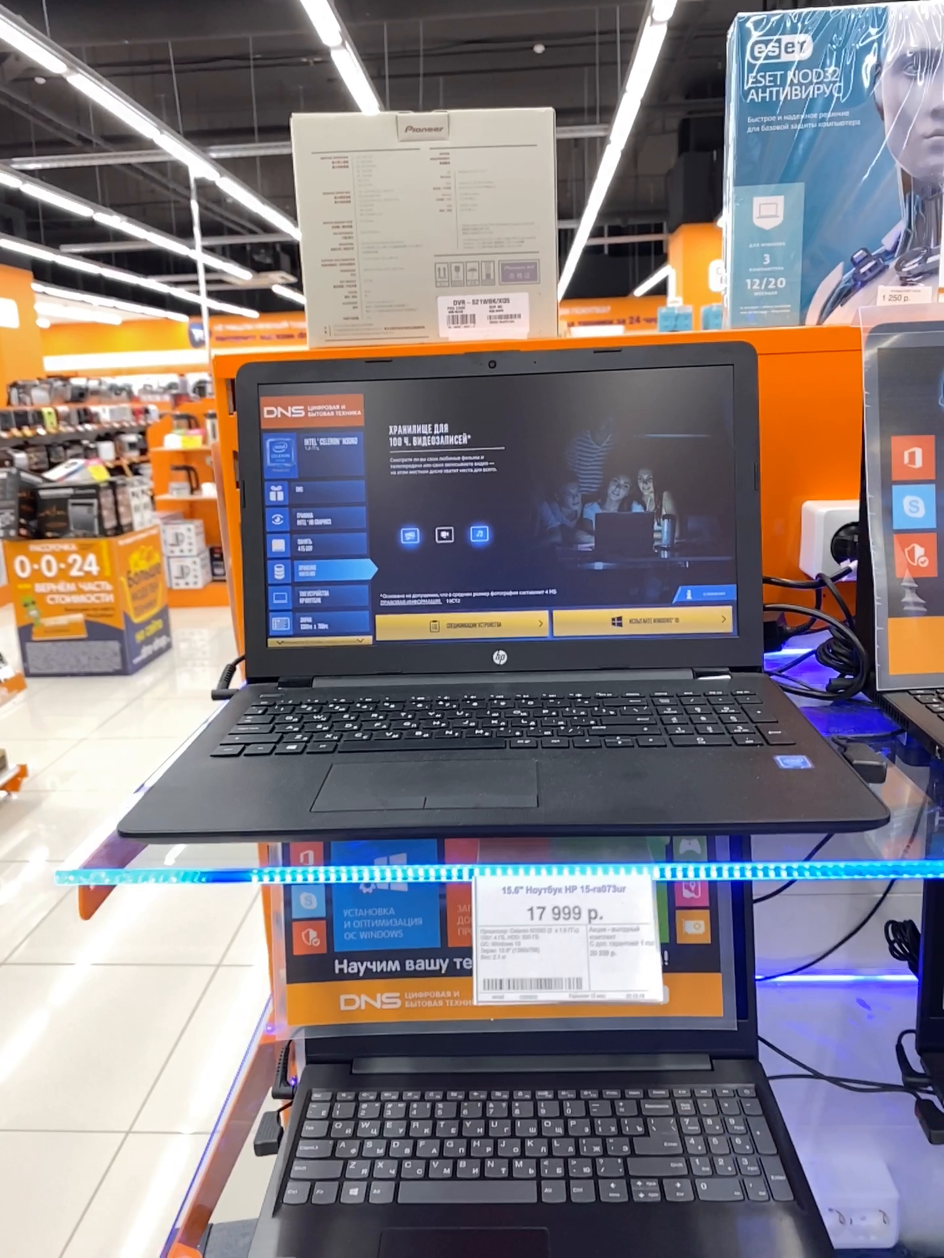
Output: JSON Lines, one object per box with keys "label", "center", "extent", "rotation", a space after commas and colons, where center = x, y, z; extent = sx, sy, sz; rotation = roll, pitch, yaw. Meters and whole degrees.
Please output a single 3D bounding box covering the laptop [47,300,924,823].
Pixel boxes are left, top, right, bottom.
{"label": "laptop", "center": [0.008, -0.058, 0.608], "extent": [0.388, 0.236, 0.323], "rotation": [-1, 13, 3]}
